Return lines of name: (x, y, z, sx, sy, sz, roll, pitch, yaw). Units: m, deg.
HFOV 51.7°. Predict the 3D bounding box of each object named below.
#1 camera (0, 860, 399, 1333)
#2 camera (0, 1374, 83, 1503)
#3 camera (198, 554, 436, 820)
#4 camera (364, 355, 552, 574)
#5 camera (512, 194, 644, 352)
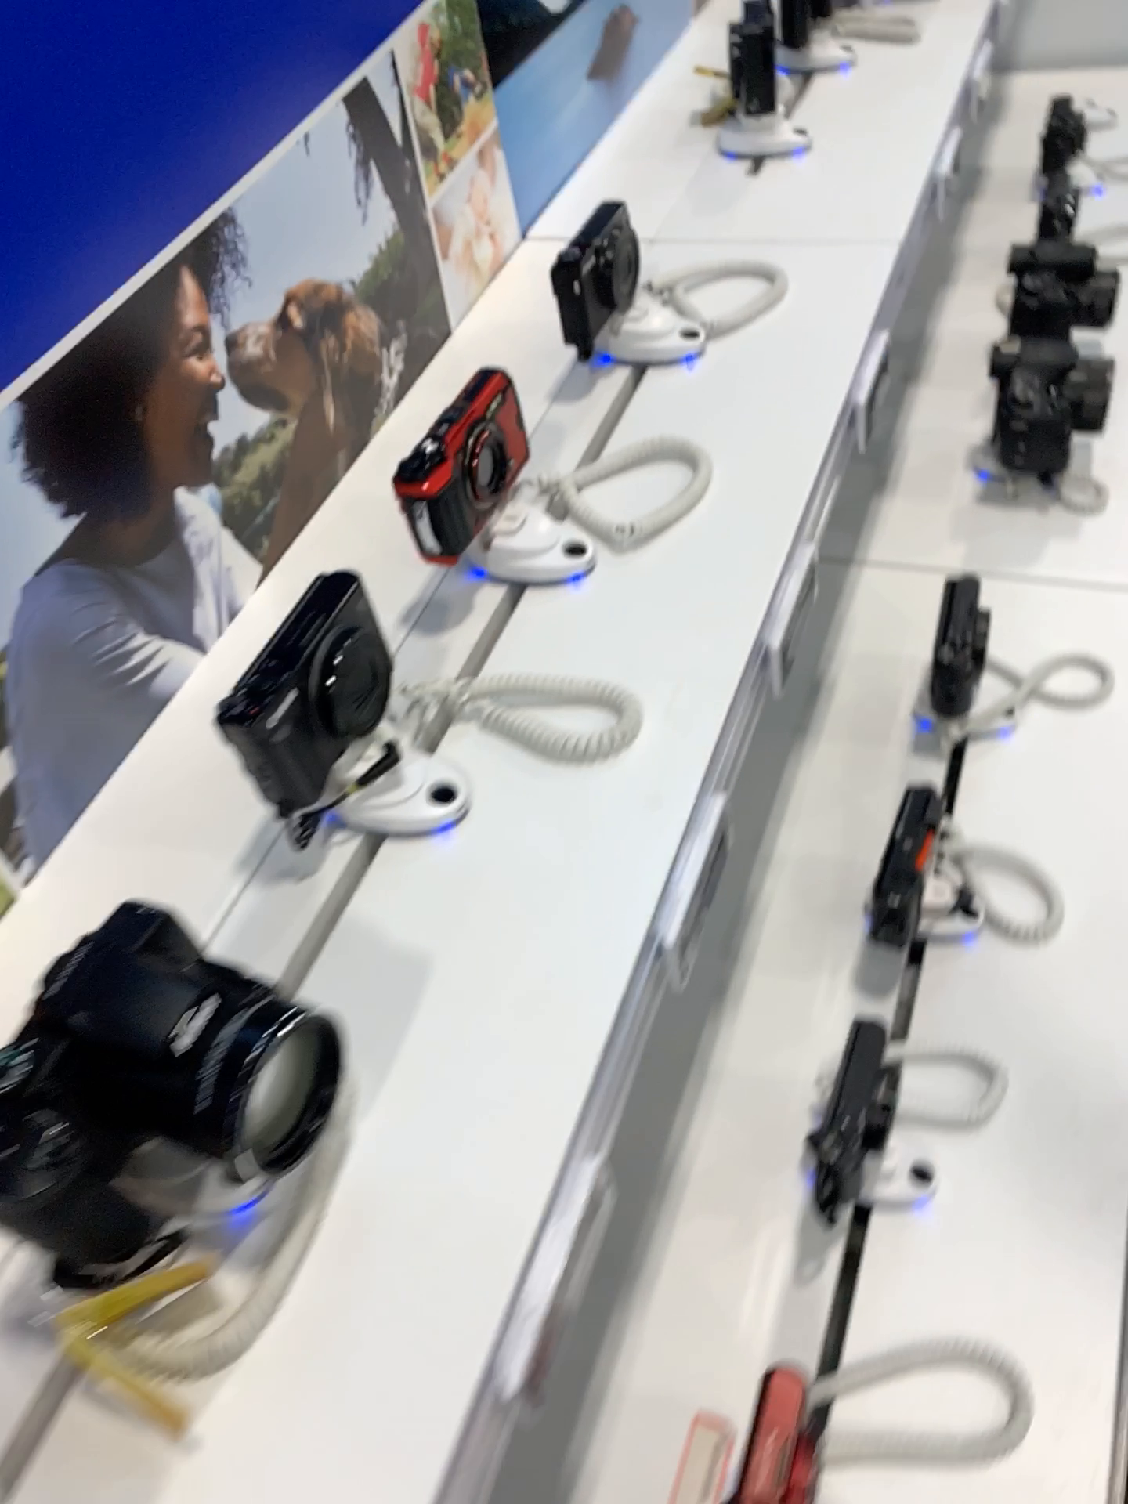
camera: (-0.146, 0.122, 0.429, 0.110, 0.080, 0.120, 10, 52, 22)
camera: (-0.231, 0.268, 0.318, 0.110, 0.080, 0.130, 10, 52, 22)
camera: (-0.119, -0.035, 0.585, 0.050, 0.060, 0.120, 10, 52, 22)
camera: (-0.059, -0.174, 0.695, 0.050, 0.060, 0.130, 10, 52, 22)
camera: (0.013, -0.344, 0.835, 0.050, 0.060, 0.110, 10, 52, 22)
